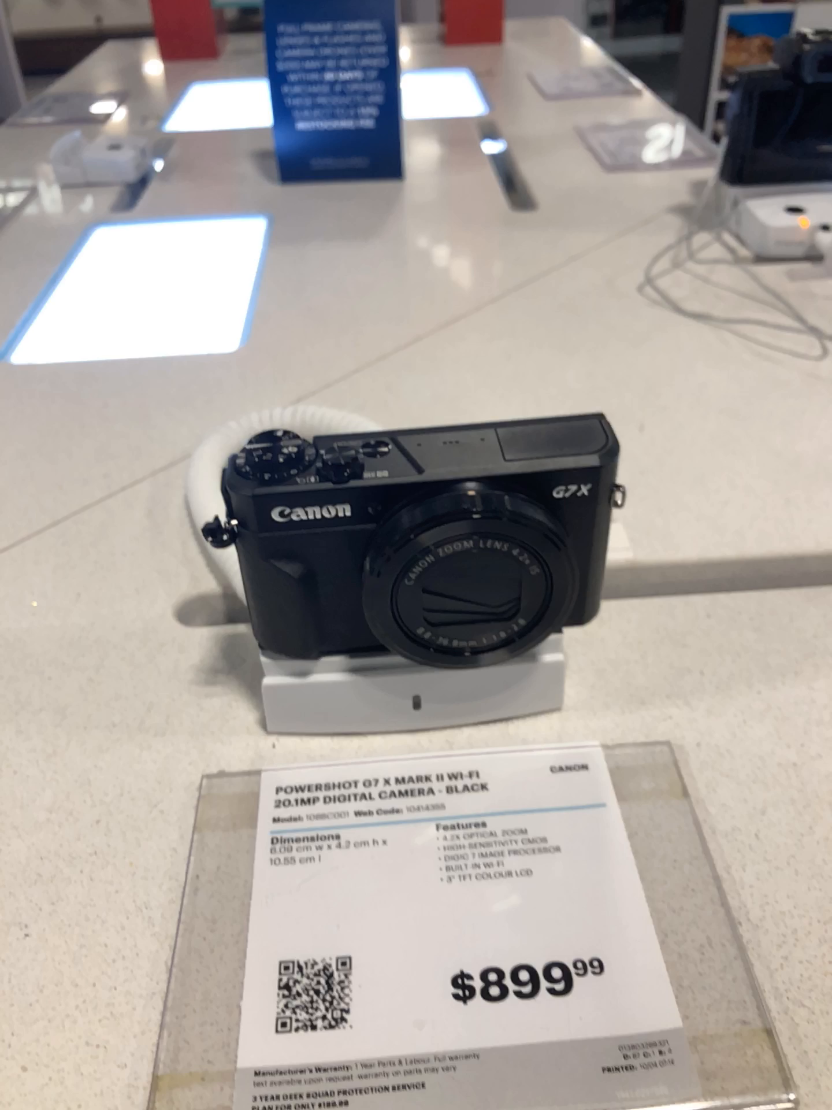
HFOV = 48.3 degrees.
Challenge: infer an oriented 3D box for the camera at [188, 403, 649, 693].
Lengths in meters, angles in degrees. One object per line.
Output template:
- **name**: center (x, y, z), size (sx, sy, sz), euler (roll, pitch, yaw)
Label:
- **camera**: center (0.000, -0.002, 0.254), size (0.110, 0.060, 0.040), euler (-4, 37, -3)
